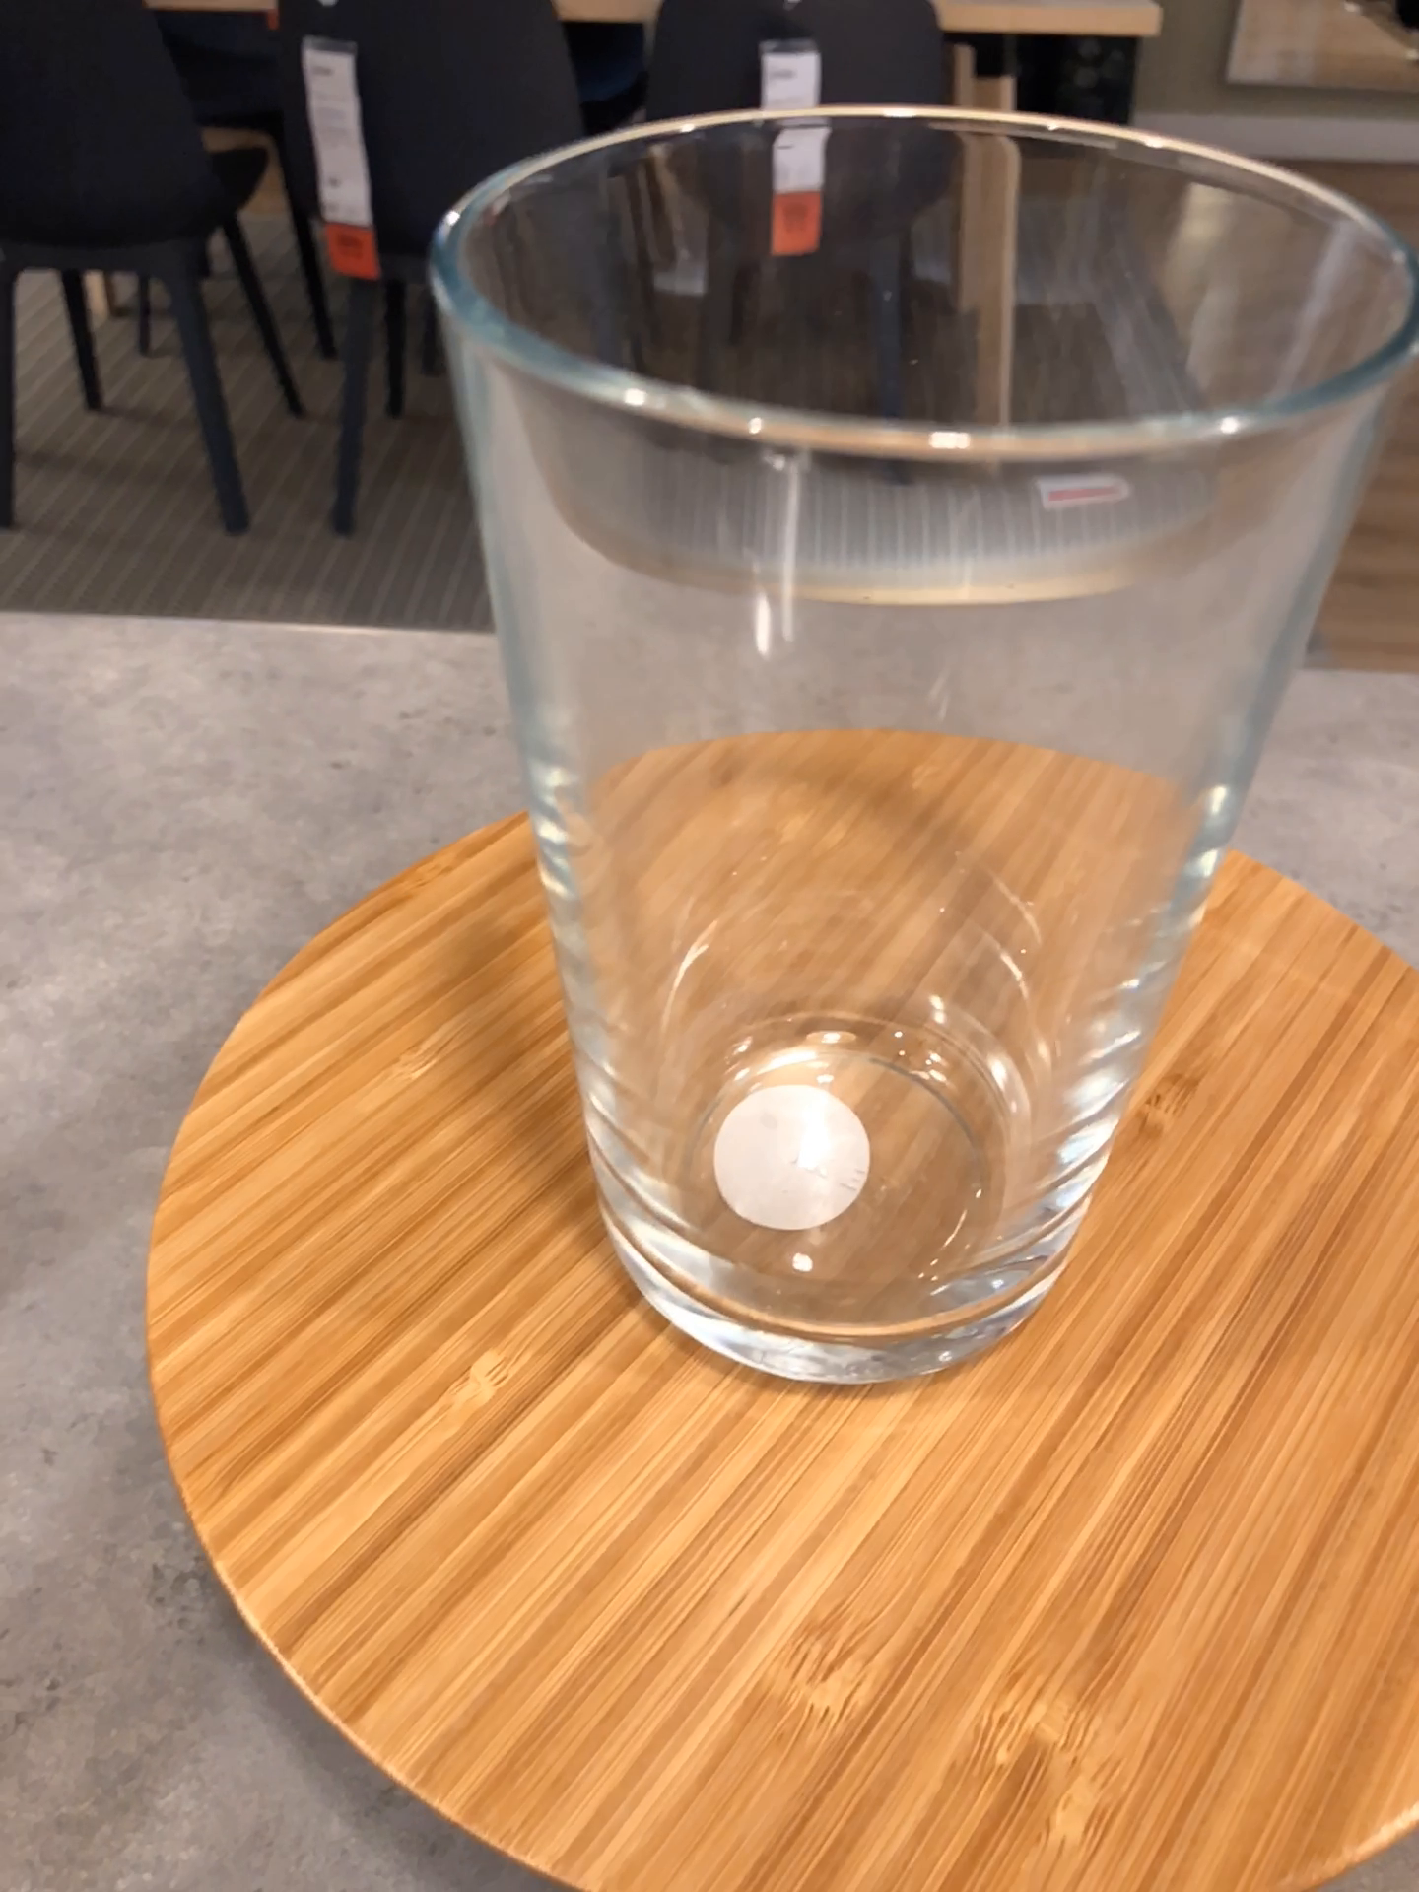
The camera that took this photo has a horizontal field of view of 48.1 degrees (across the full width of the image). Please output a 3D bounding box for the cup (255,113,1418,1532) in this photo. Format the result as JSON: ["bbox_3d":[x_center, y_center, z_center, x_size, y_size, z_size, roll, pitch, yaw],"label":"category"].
[{"bbox_3d":[0.012,-0.015,0.198,0.100,0.139,0.100,1,40,-1],"label":"cup"}]
